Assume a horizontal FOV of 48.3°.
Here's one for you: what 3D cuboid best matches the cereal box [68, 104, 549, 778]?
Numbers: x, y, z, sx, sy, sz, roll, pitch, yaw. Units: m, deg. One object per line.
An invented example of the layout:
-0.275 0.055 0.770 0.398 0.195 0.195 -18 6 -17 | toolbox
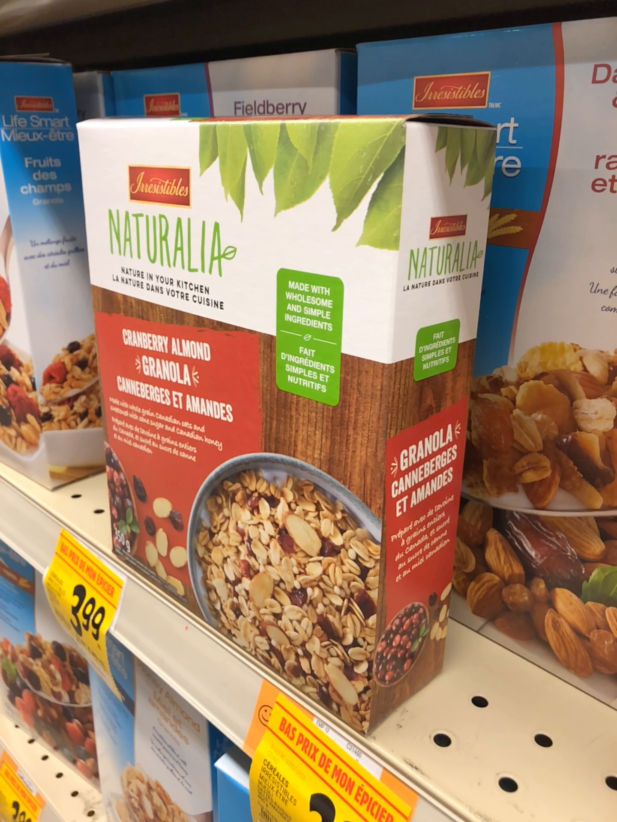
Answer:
-0.012 -0.003 0.271 0.171 0.209 0.060 20 29 41 | cereal box
